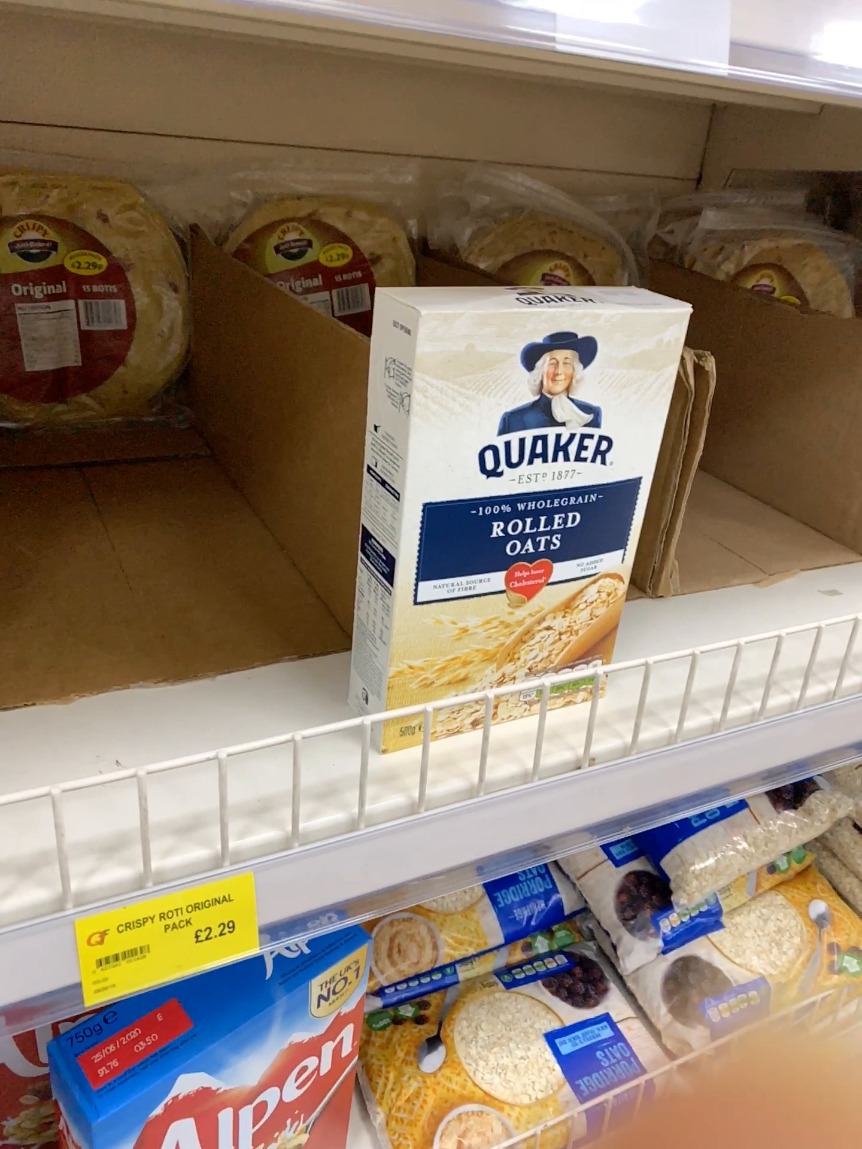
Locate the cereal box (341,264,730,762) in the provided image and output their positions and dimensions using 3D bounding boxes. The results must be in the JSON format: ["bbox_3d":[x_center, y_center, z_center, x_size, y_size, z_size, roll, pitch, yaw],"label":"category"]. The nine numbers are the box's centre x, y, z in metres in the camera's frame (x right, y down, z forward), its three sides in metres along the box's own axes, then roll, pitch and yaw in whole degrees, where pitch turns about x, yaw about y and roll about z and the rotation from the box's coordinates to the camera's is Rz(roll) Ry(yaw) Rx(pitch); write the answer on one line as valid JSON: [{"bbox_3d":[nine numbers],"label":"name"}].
[{"bbox_3d":[0.043,-0.031,0.433,0.150,0.218,0.060,-9,30,-27],"label":"cereal box"}]
